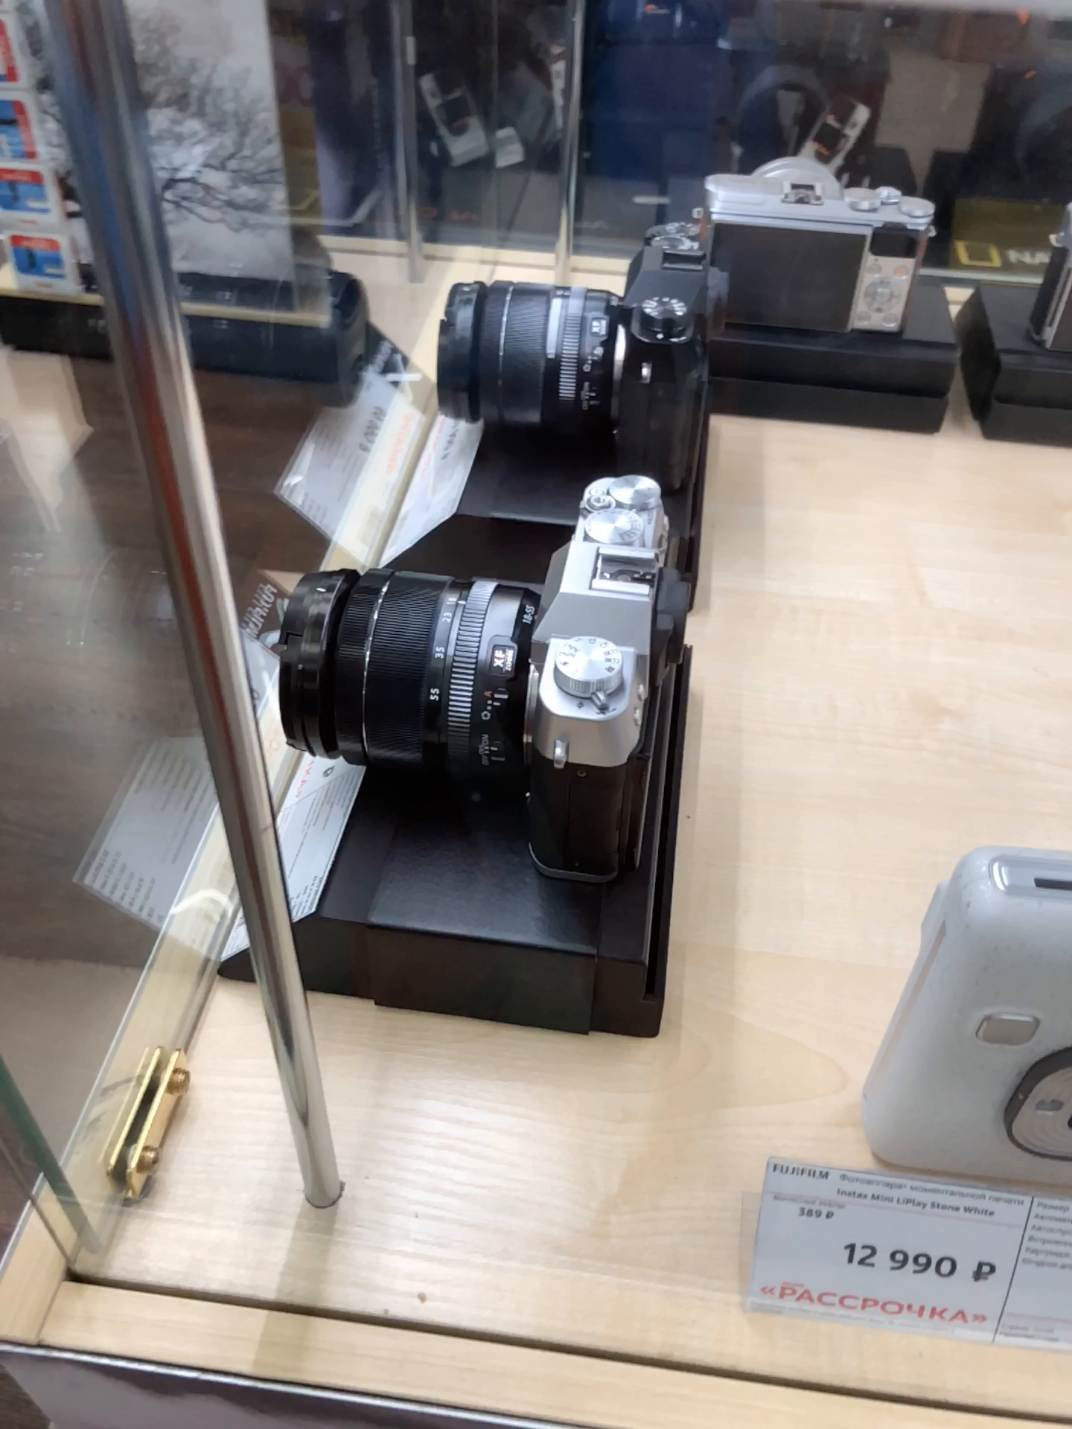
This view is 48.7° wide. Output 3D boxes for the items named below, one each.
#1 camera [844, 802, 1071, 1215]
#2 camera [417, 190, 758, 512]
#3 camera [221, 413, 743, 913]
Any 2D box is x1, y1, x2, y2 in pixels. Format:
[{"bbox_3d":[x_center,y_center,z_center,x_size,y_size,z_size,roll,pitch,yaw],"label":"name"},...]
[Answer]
[{"bbox_3d":[0.139,0.078,0.300,0.094,0.110,0.039,6,44,3],"label":"camera"},{"bbox_3d":[0.026,-0.169,0.539,0.130,0.080,0.124,9,44,6],"label":"camera"},{"bbox_3d":[-0.009,-0.021,0.376,0.130,0.080,0.124,9,44,6],"label":"camera"}]
